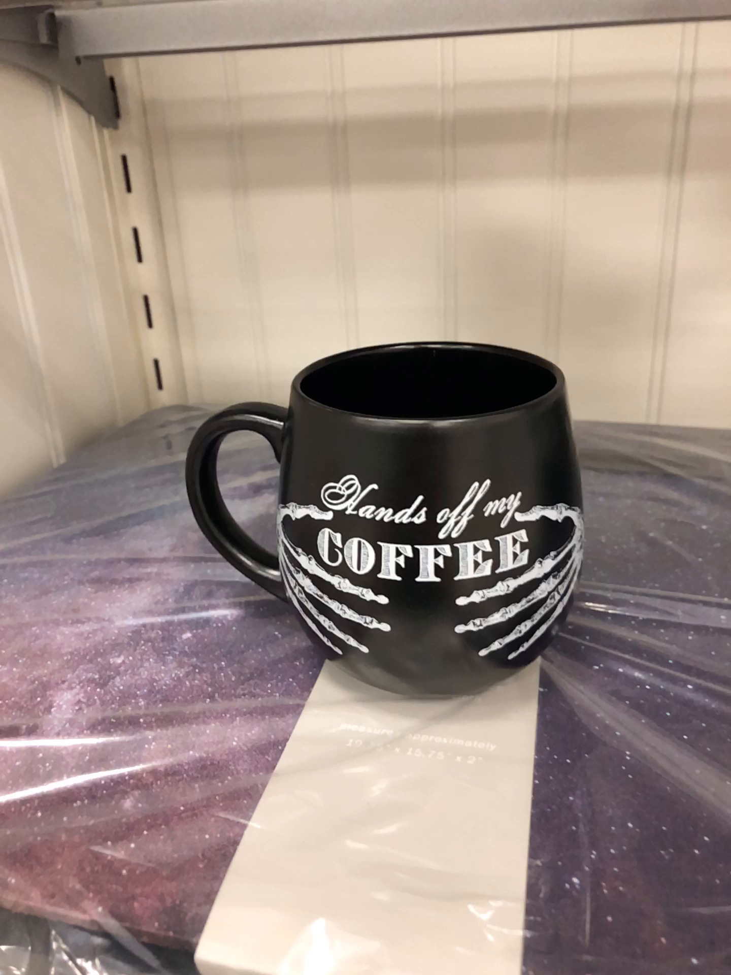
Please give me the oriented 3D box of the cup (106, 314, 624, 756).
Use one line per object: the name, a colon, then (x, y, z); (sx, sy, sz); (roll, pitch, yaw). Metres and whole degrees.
cup: (0.007, 0.004, 0.284); (0.140, 0.099, 0.101); (7, 27, 22)
